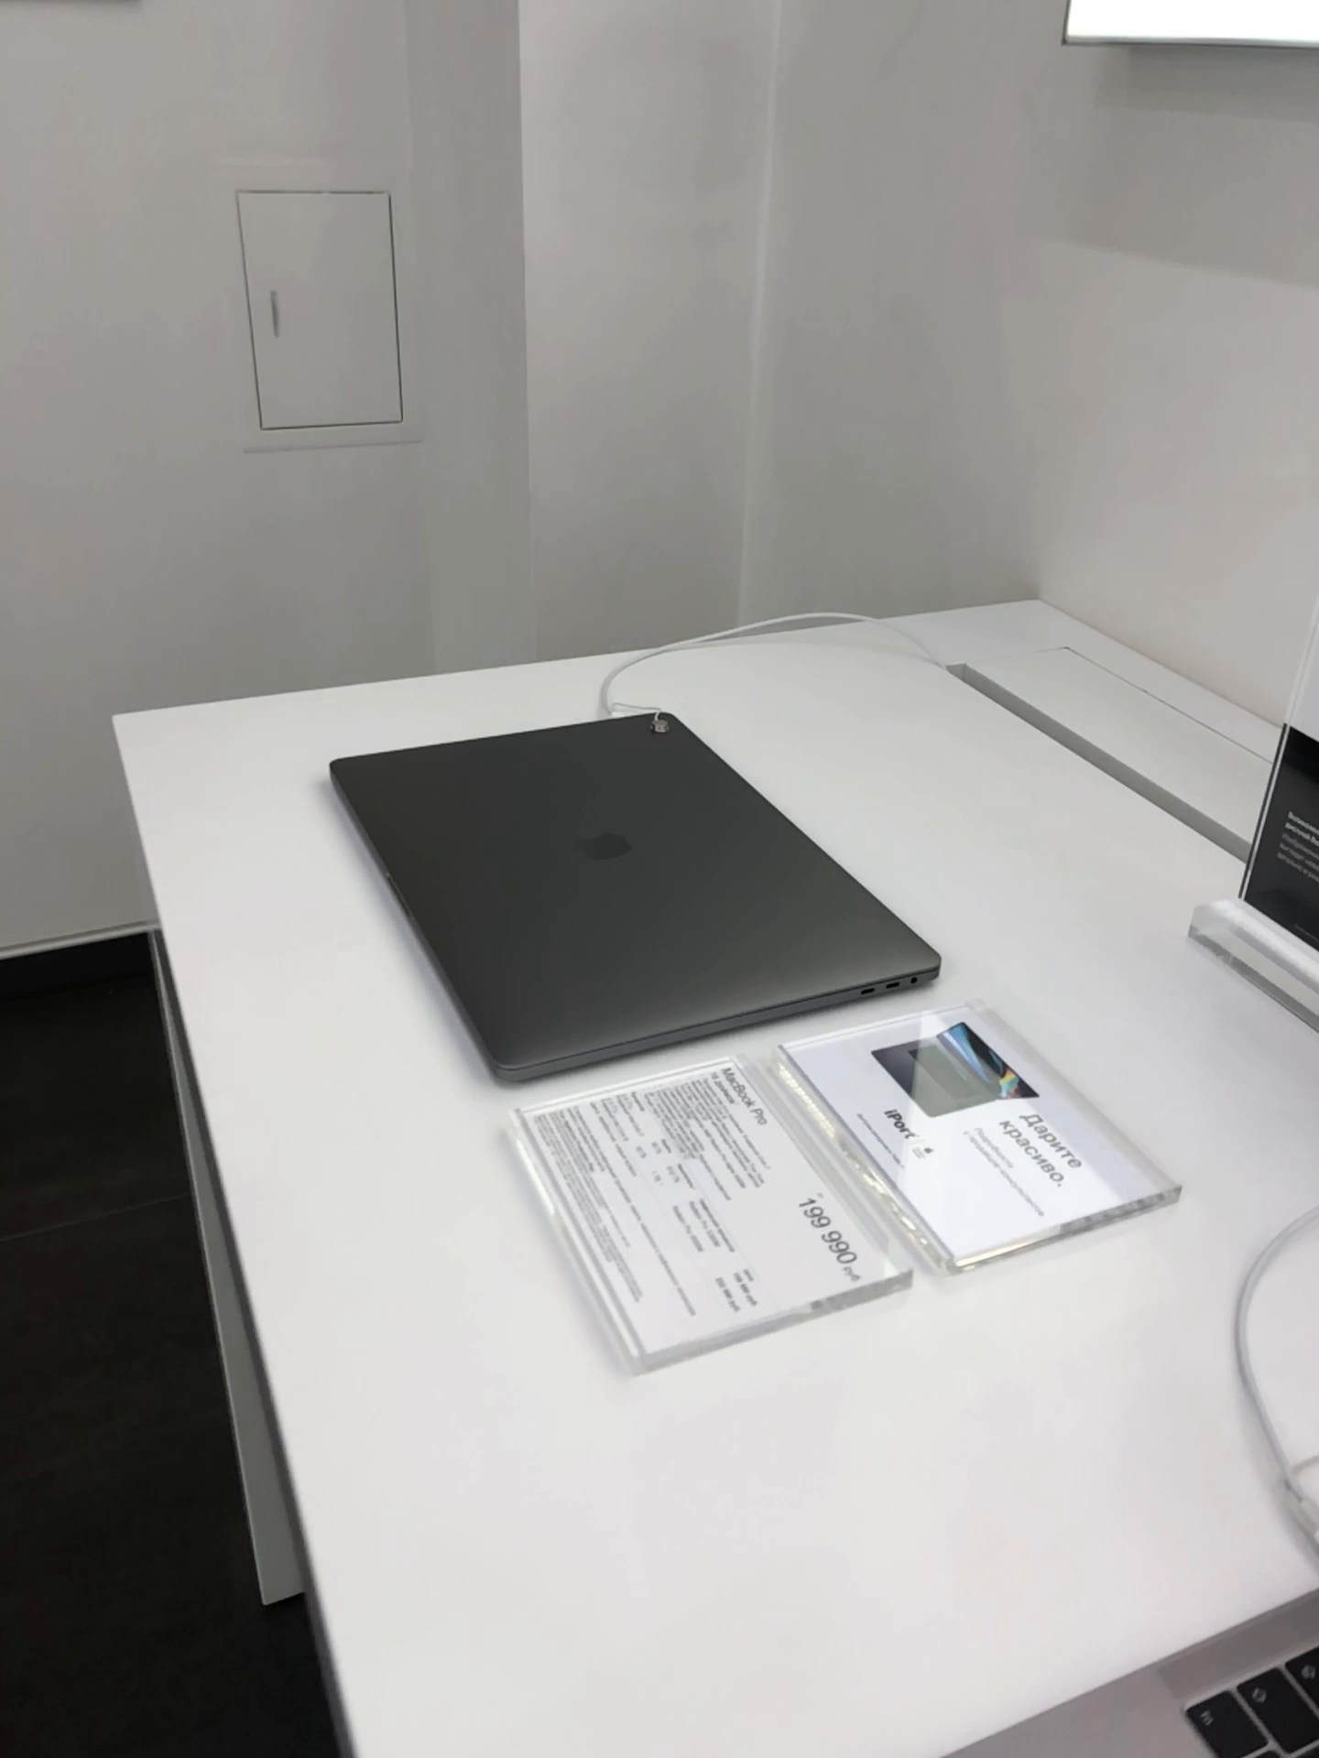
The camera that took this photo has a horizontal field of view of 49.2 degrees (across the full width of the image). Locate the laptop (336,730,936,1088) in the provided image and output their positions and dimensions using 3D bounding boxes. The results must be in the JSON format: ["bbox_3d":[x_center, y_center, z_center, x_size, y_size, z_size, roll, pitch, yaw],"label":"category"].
[{"bbox_3d":[-0.034,-0.005,0.835,0.231,0.003,0.346,-12,31,-21],"label":"laptop"}]
